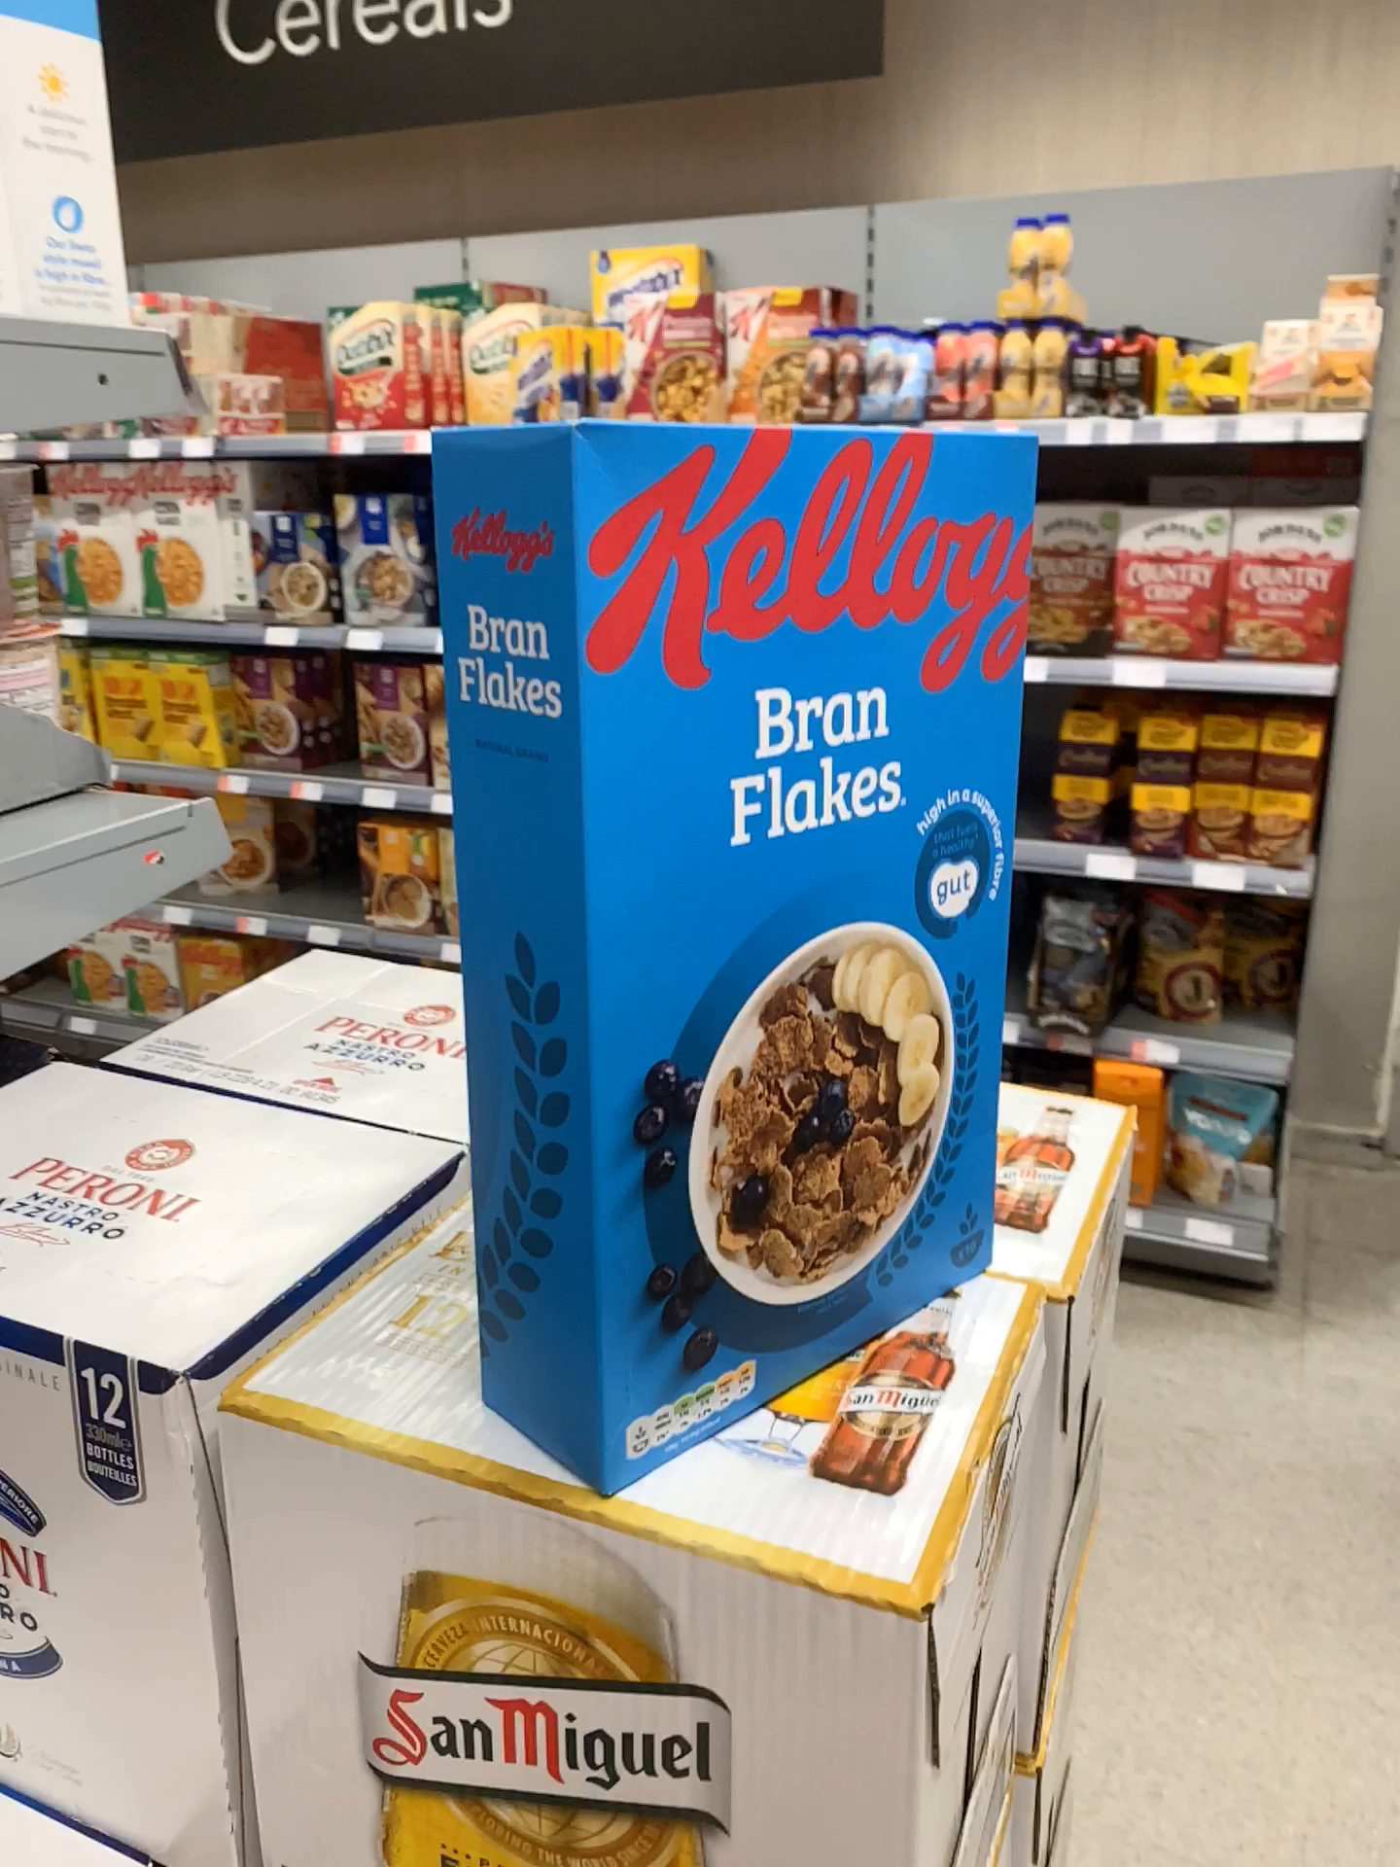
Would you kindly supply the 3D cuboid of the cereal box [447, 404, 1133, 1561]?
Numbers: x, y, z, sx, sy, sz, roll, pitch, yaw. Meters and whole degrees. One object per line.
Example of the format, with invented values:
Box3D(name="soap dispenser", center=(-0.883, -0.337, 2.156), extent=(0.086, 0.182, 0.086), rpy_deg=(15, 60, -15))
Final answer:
Box3D(name="cereal box", center=(0.035, 0.000, 0.433), extent=(0.201, 0.288, 0.070), rpy_deg=(-15, 22, -42))
